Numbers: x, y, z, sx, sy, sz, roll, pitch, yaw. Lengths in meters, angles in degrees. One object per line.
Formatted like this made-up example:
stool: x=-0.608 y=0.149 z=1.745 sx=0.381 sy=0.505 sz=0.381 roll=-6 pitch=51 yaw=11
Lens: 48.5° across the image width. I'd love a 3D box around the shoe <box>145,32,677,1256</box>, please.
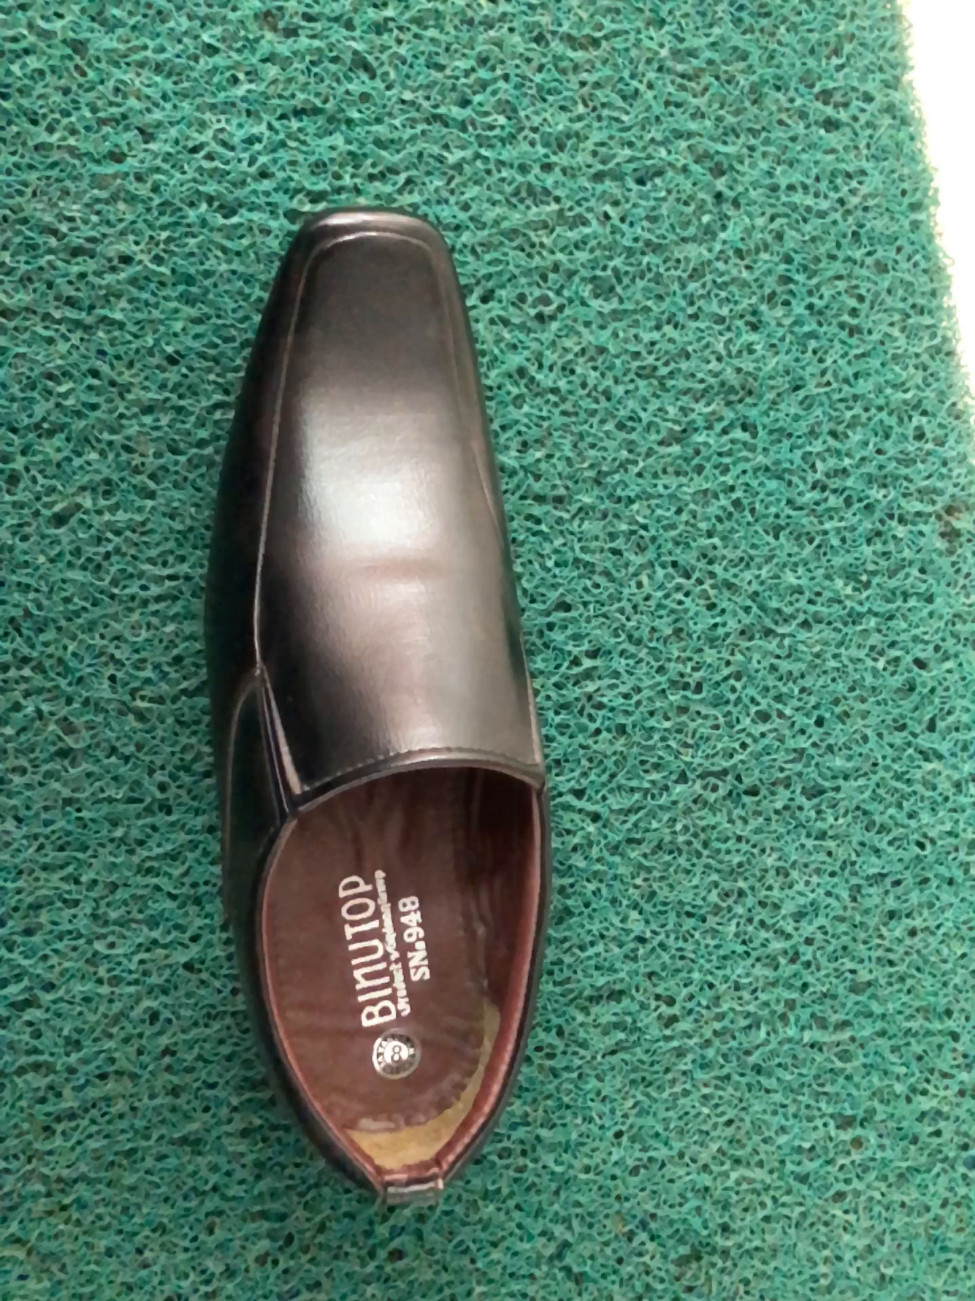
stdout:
shoe: x=-0.028 y=-0.003 z=0.314 sx=0.110 sy=0.130 sz=0.270 roll=-3 pitch=91 yaw=-12
